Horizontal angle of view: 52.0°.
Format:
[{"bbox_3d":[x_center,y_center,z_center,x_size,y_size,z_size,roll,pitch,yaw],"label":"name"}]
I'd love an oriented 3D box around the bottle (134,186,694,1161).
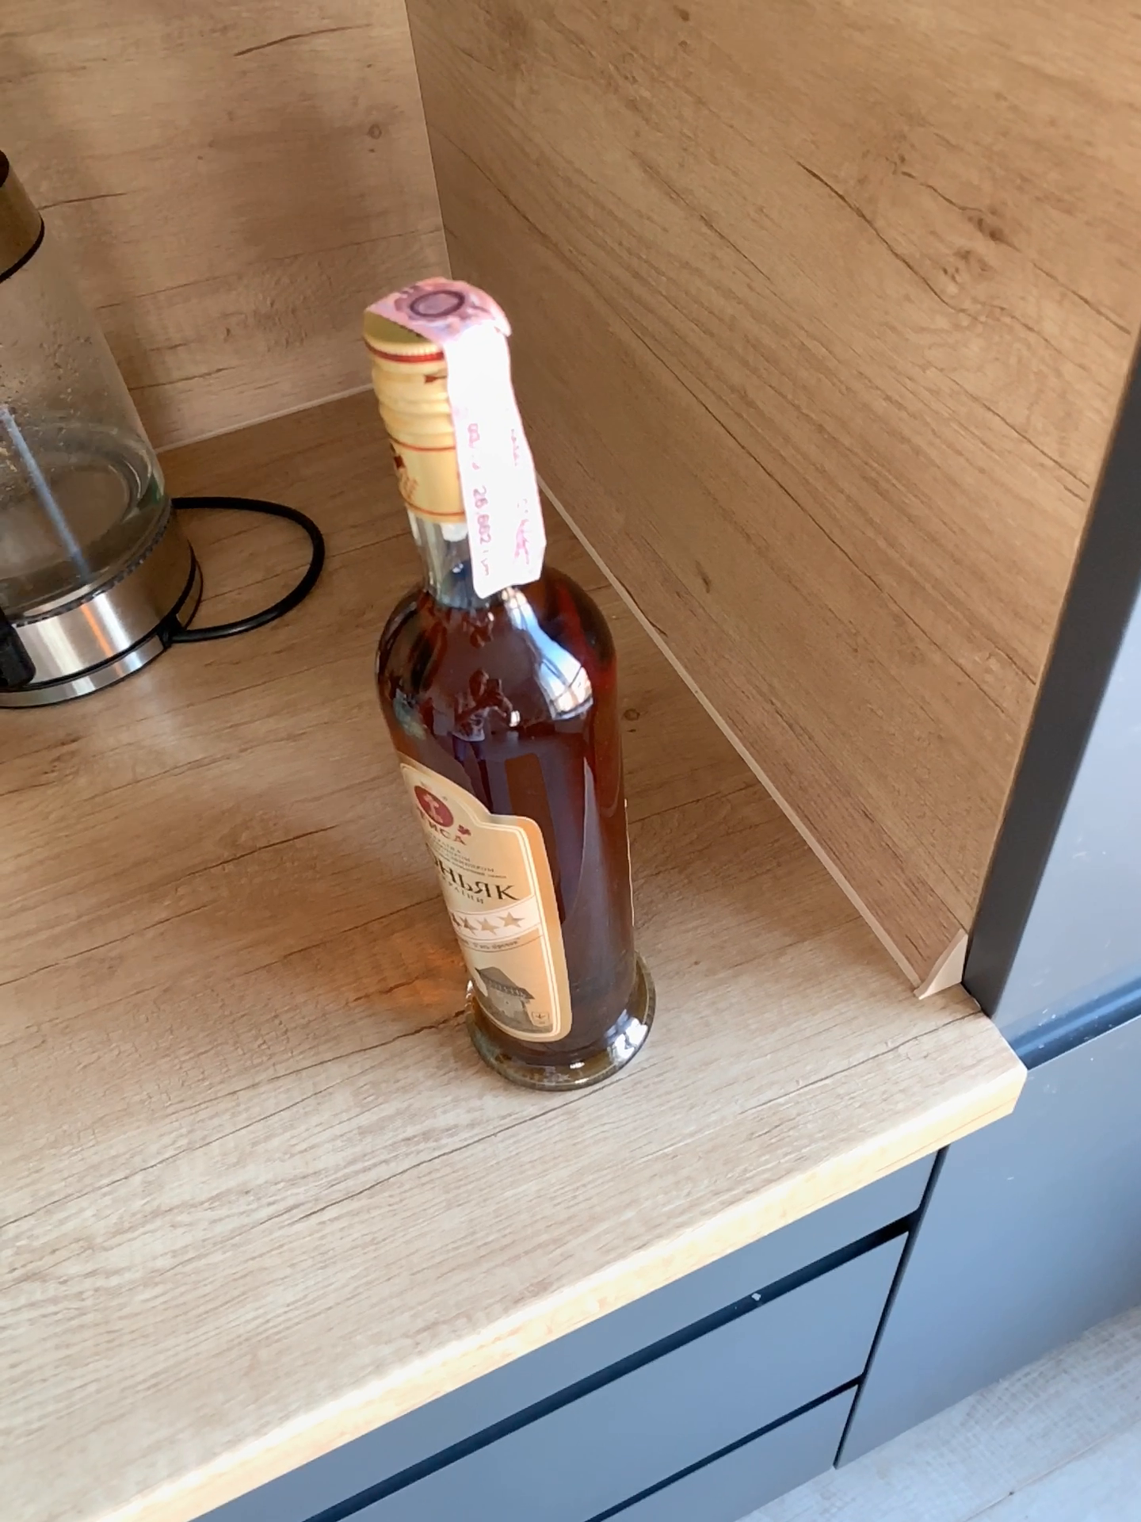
[{"bbox_3d":[-0.020,0.003,0.329,0.080,0.279,0.070,29,57,29],"label":"bottle"}]
